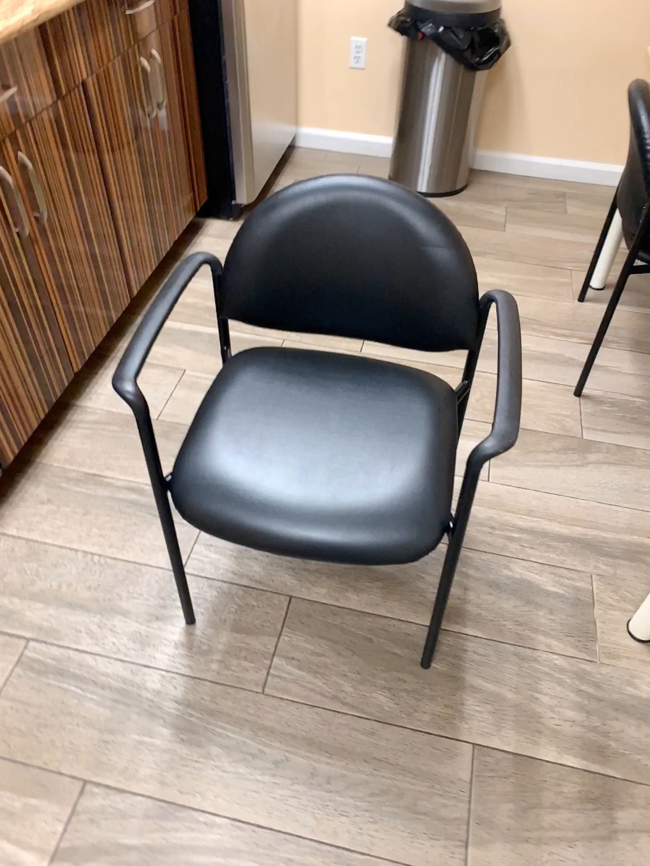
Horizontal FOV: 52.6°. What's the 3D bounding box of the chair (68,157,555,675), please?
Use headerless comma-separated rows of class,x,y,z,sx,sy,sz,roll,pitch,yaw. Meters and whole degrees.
chair,0.004,-0.011,1.229,0.590,0.736,0.523,8,46,5
